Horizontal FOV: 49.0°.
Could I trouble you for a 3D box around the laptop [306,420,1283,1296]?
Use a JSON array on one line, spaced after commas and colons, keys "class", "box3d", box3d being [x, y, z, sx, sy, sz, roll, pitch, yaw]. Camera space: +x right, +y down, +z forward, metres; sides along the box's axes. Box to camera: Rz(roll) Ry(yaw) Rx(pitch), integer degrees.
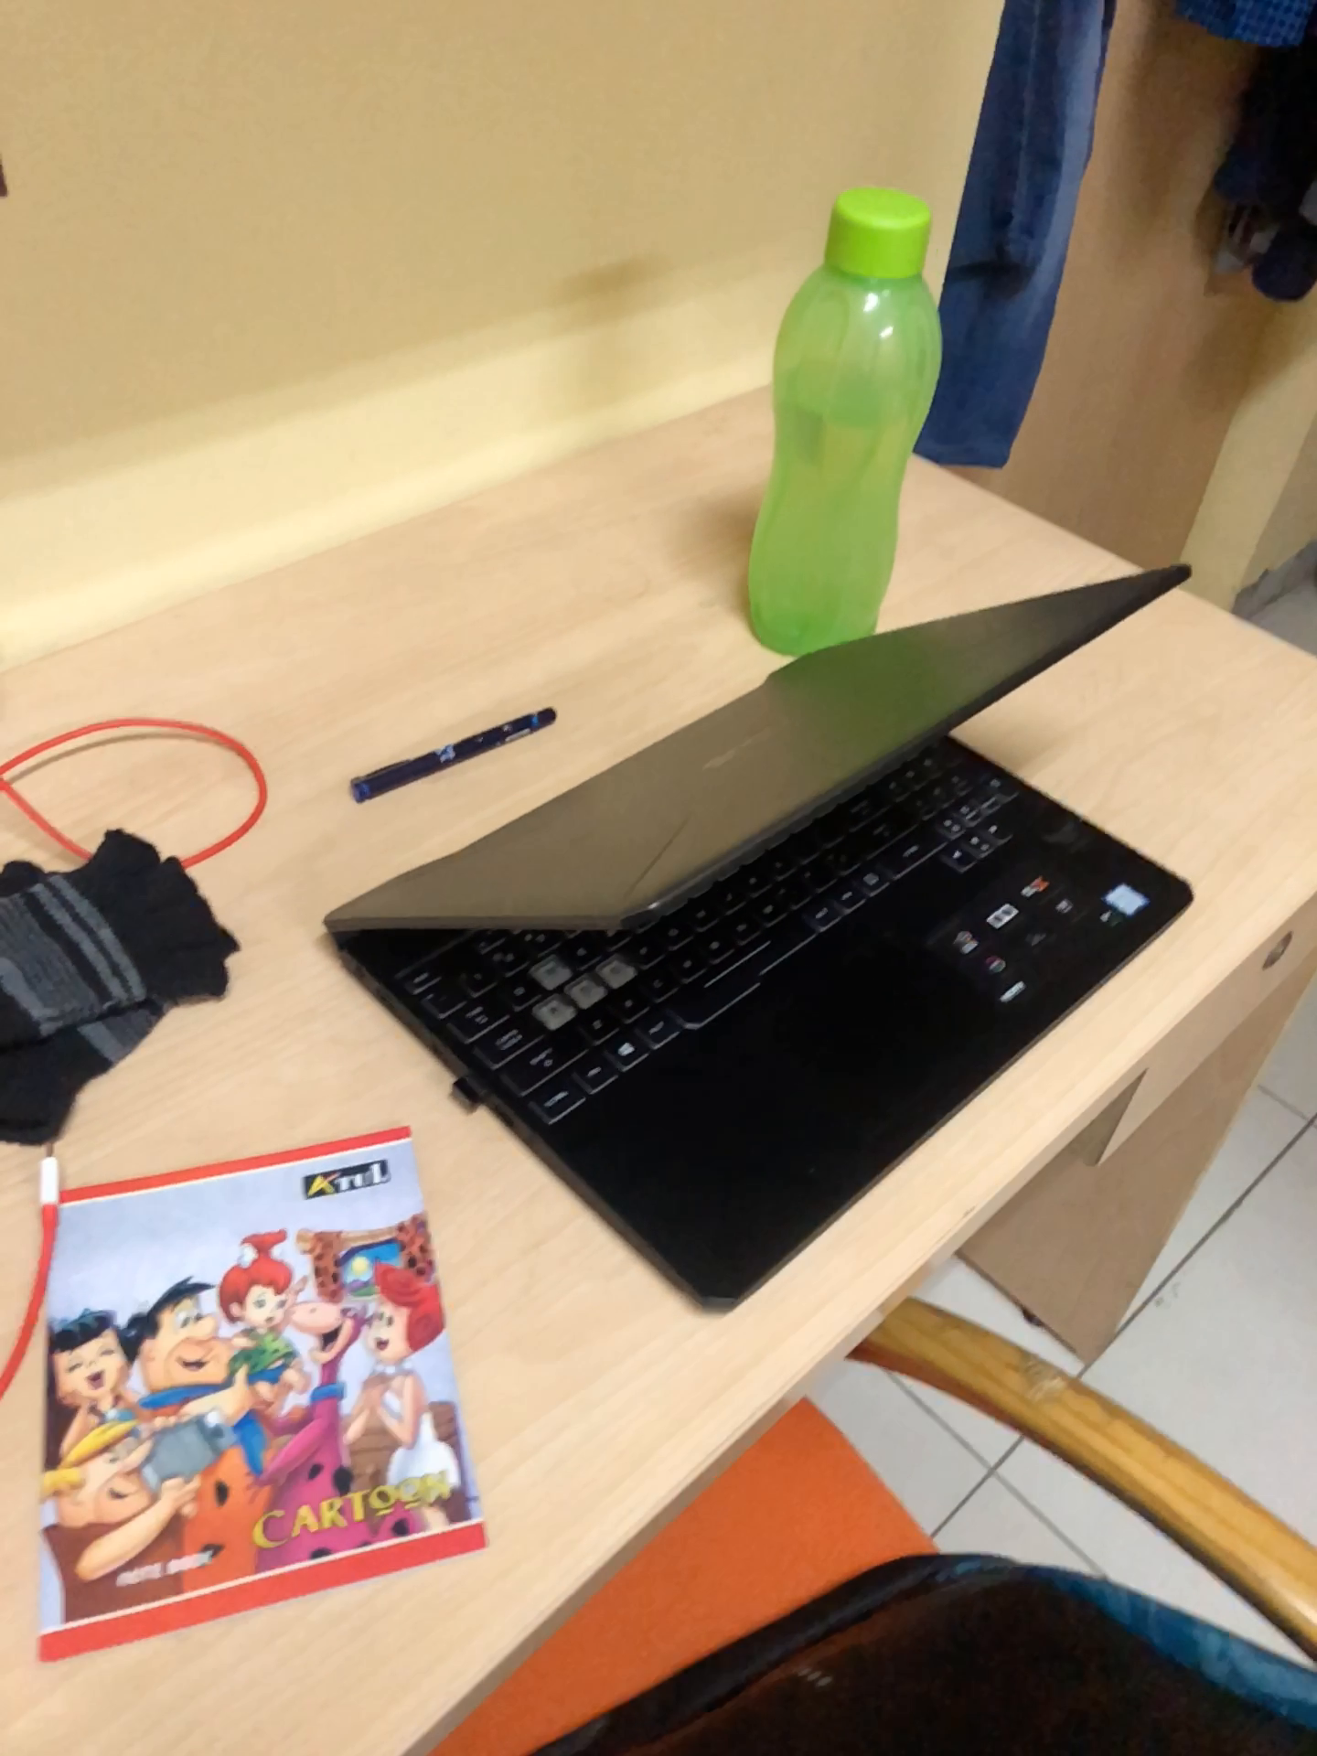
[{"class": "laptop", "box3d": [0.064, -0.038, 0.656, 0.340, 0.147, 0.248, -32, 58, -32]}]
